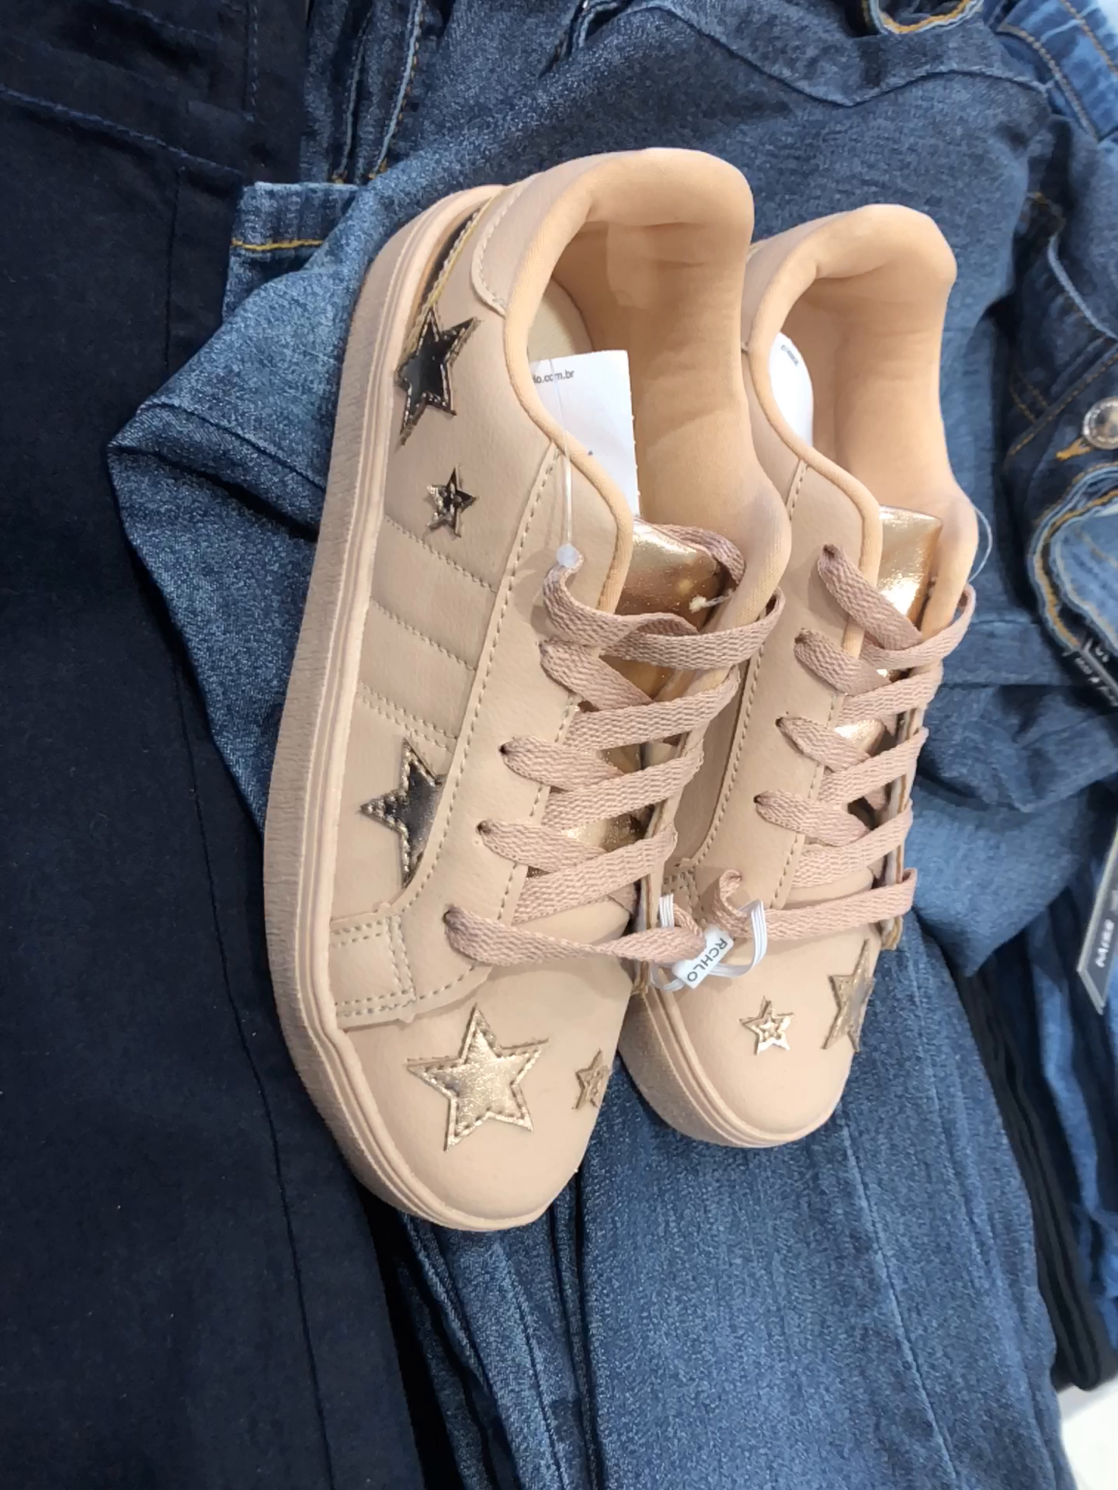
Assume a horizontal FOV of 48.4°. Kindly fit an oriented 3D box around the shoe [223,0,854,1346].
[{"bbox_3d":[-0.007,-0.020,0.275,0.090,0.090,0.250,6,86,-30],"label":"shoe"}]

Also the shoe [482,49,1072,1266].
[{"bbox_3d":[0.049,-0.019,0.314,0.090,0.090,0.250,-1,84,-31],"label":"shoe"}]
